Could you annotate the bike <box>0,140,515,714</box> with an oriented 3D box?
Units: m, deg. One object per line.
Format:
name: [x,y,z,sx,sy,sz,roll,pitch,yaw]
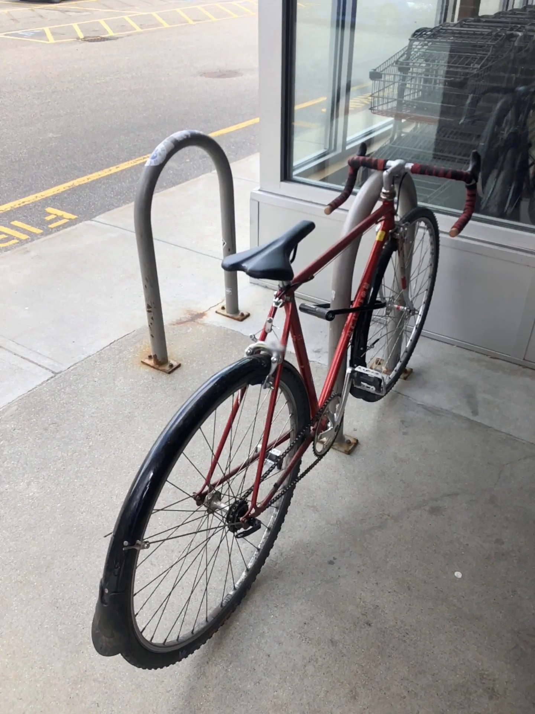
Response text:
bike: [0.167,0.052,1.658,0.458,0.787,1.698,20,42,26]
